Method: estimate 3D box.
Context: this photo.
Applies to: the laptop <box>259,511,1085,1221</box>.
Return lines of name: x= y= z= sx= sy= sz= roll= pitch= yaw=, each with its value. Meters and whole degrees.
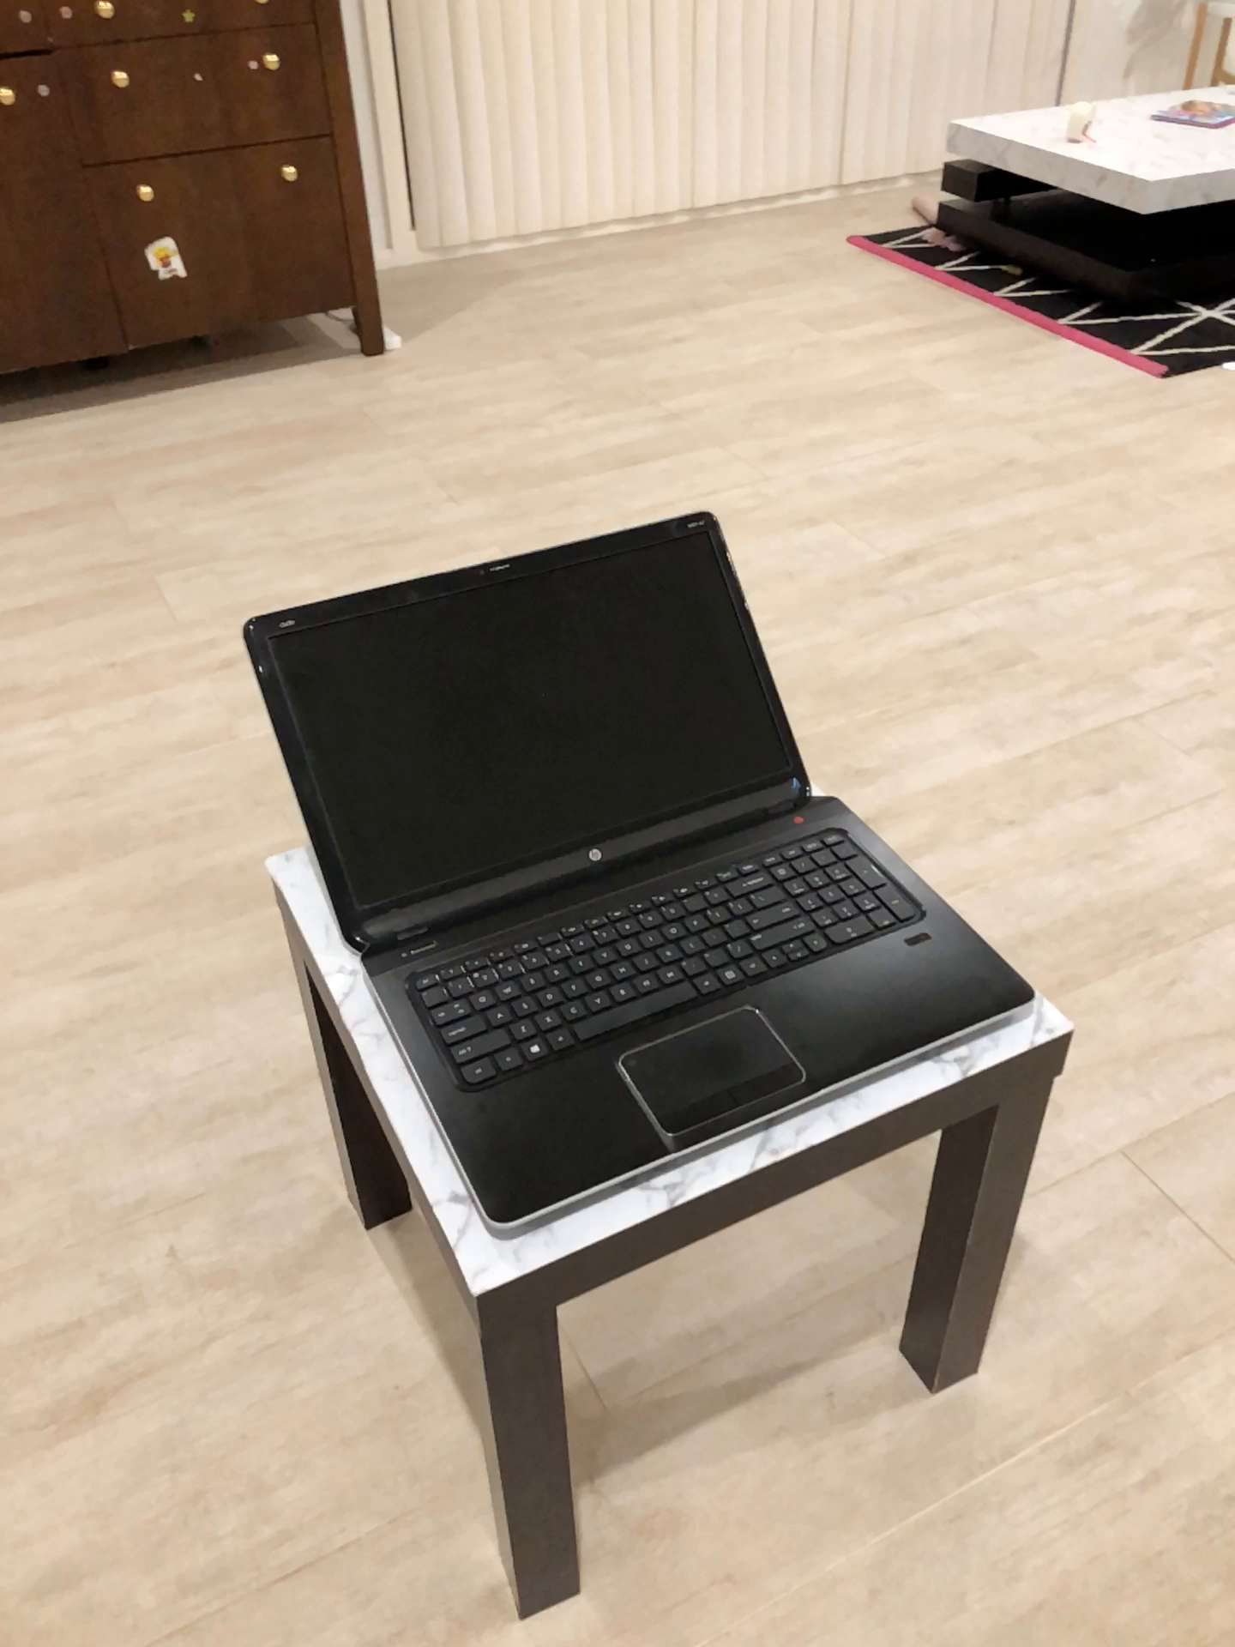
laptop: x=0.011 y=-0.015 z=0.946 sx=0.387 sy=0.169 sz=0.440 roll=-18 pitch=41 yaw=-20
